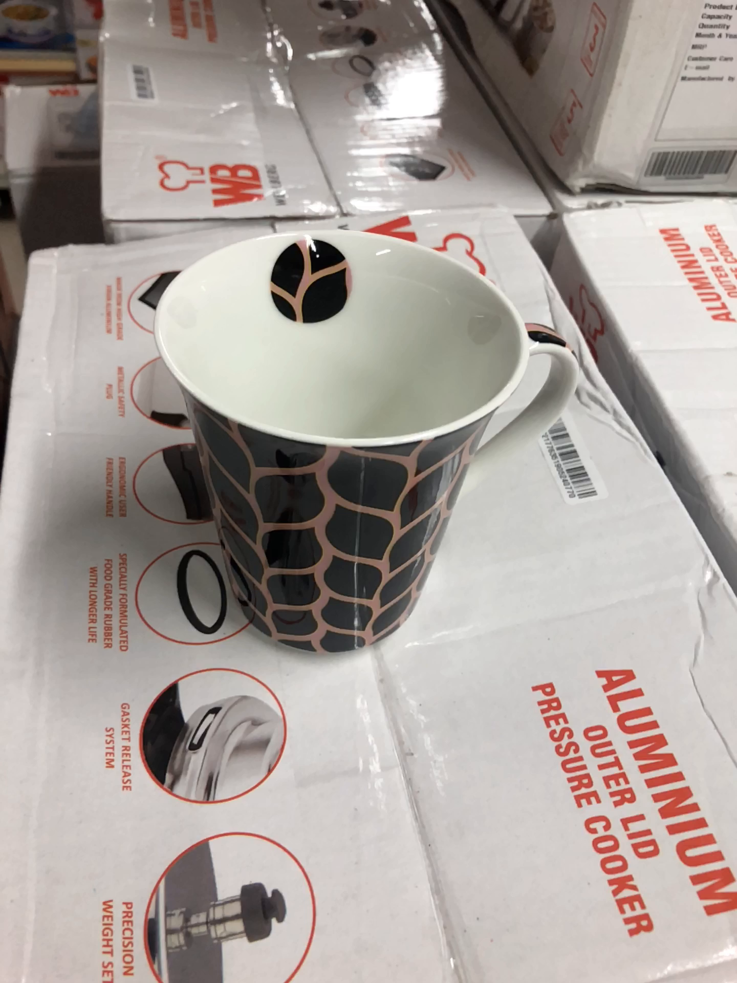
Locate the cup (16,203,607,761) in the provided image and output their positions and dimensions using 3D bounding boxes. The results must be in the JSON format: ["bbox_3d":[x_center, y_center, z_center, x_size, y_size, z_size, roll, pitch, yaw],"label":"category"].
[{"bbox_3d":[-0.020,-0.004,0.219,0.110,0.099,0.080,-14,51,-19],"label":"cup"}]
